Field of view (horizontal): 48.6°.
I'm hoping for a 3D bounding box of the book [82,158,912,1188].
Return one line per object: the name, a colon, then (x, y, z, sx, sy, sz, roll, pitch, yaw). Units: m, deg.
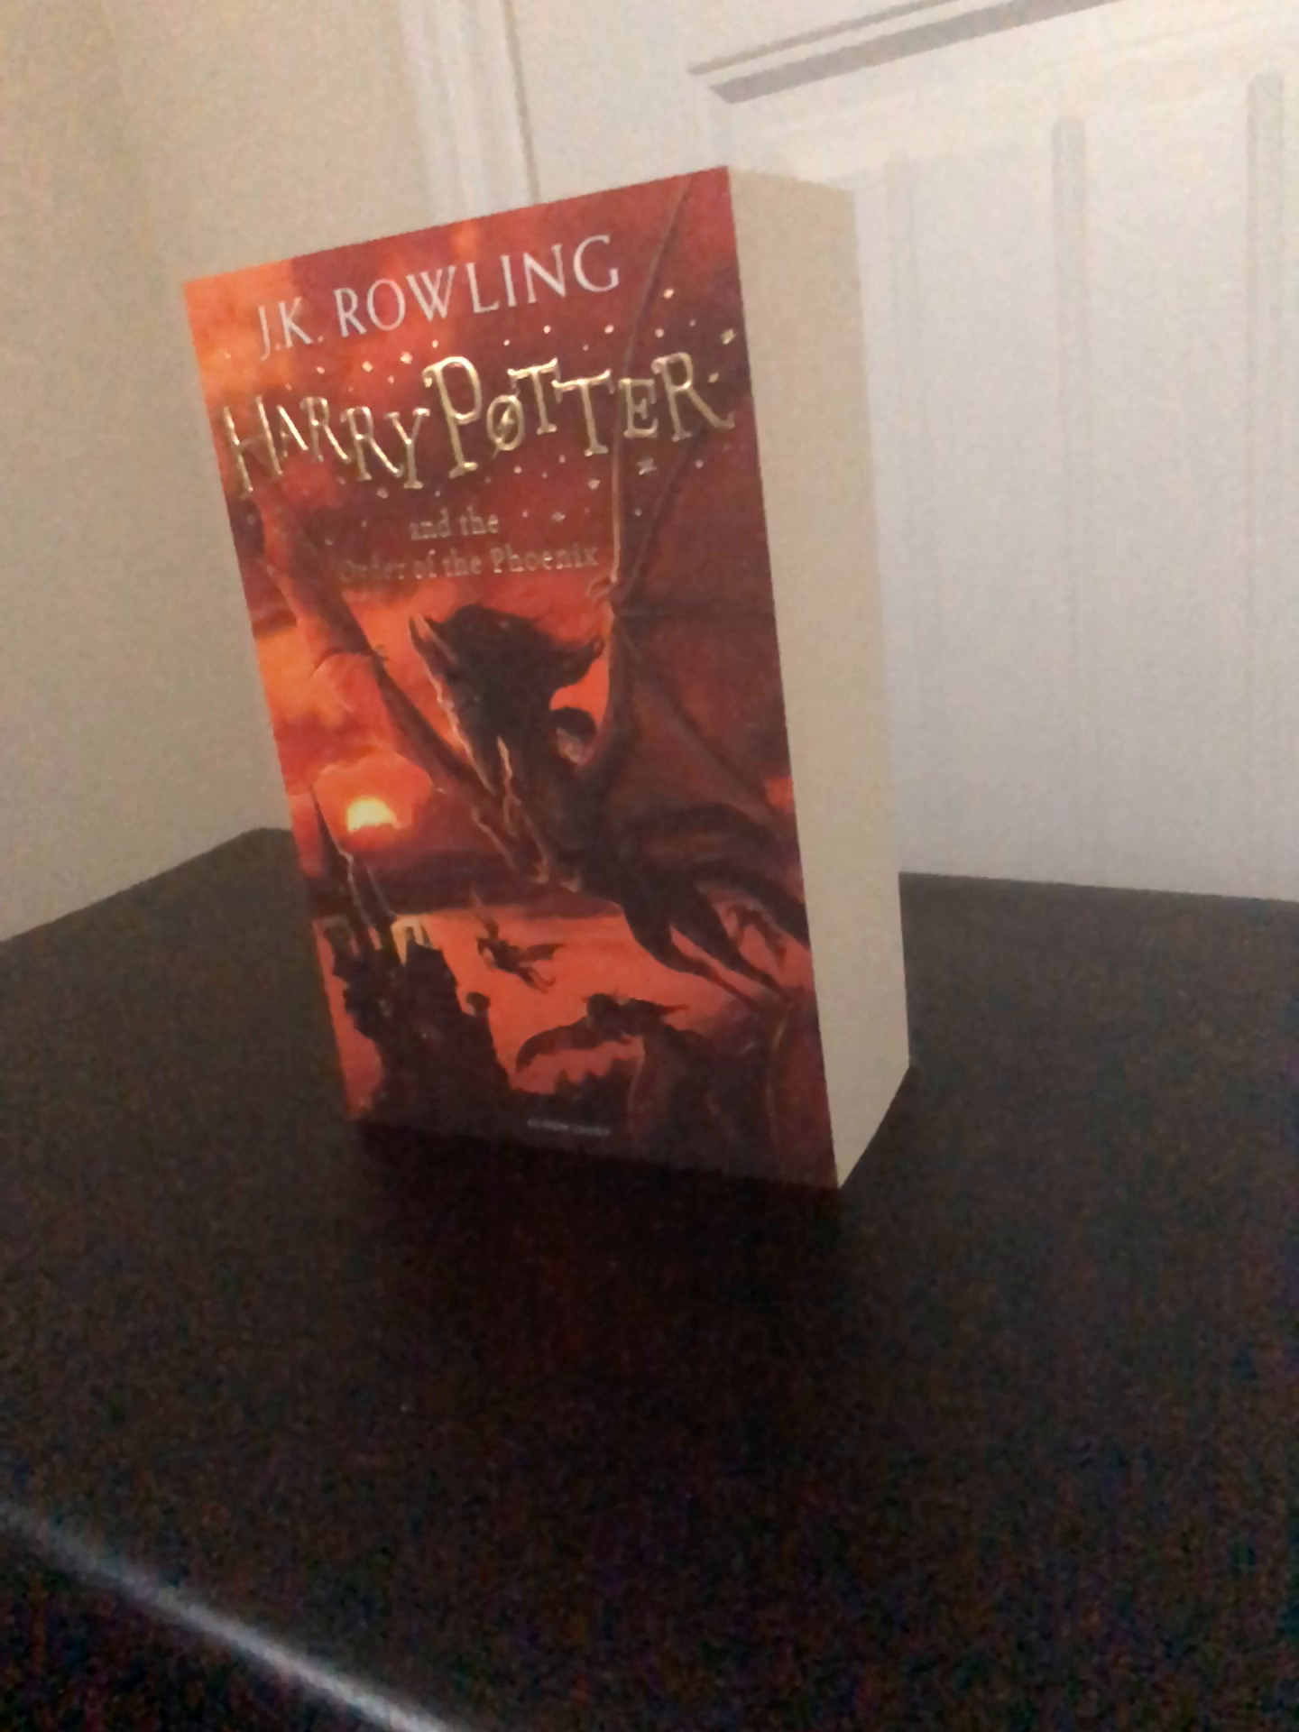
book: (-0.026, -0.037, 0.316, 0.141, 0.189, 0.061, 1, 21, 26)
